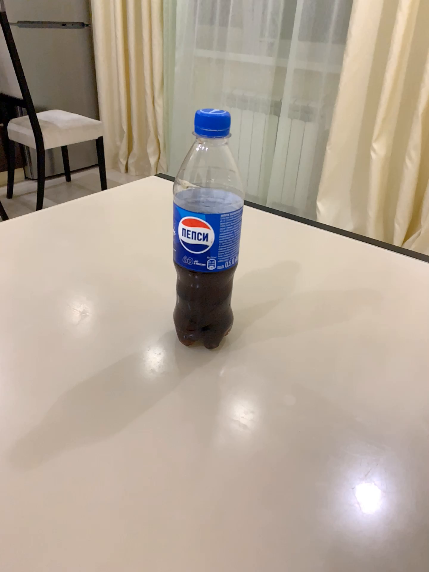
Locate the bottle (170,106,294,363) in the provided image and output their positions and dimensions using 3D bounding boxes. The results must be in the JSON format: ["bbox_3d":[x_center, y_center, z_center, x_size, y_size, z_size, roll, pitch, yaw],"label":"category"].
[{"bbox_3d":[0.006,-0.046,0.429,0.080,0.229,0.080,2,31,-1],"label":"bottle"}]
